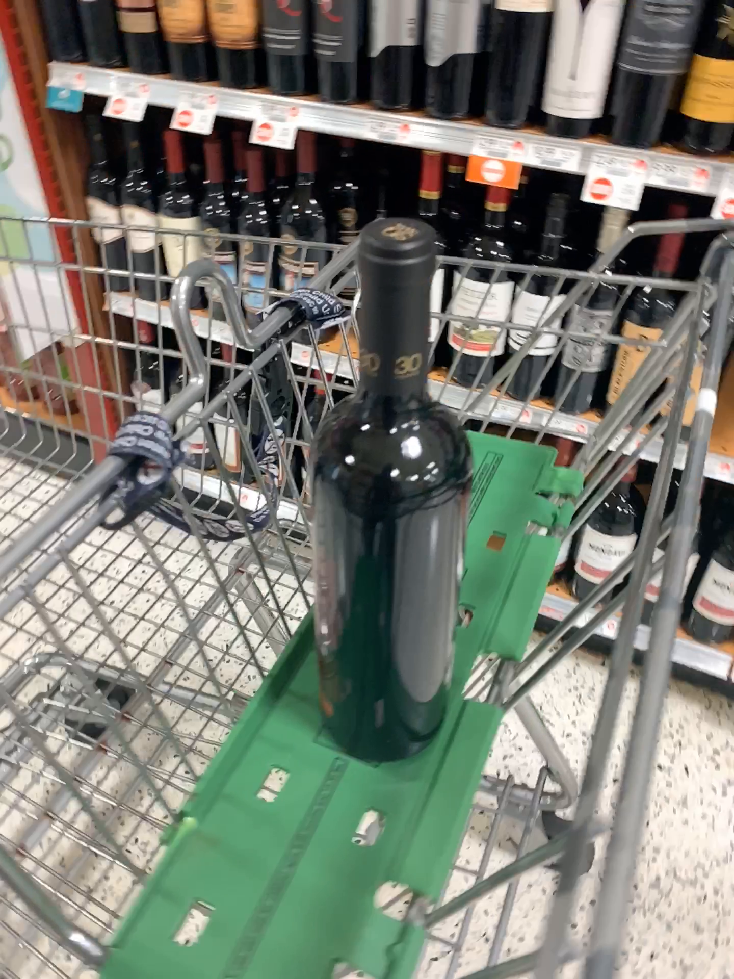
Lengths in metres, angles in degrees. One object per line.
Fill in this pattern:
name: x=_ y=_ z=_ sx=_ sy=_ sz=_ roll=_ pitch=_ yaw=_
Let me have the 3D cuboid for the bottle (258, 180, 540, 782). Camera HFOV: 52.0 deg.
bottle: x=0.007 y=0.019 z=0.365 sx=0.080 sy=0.297 sz=0.081 roll=0 pitch=41 yaw=0
